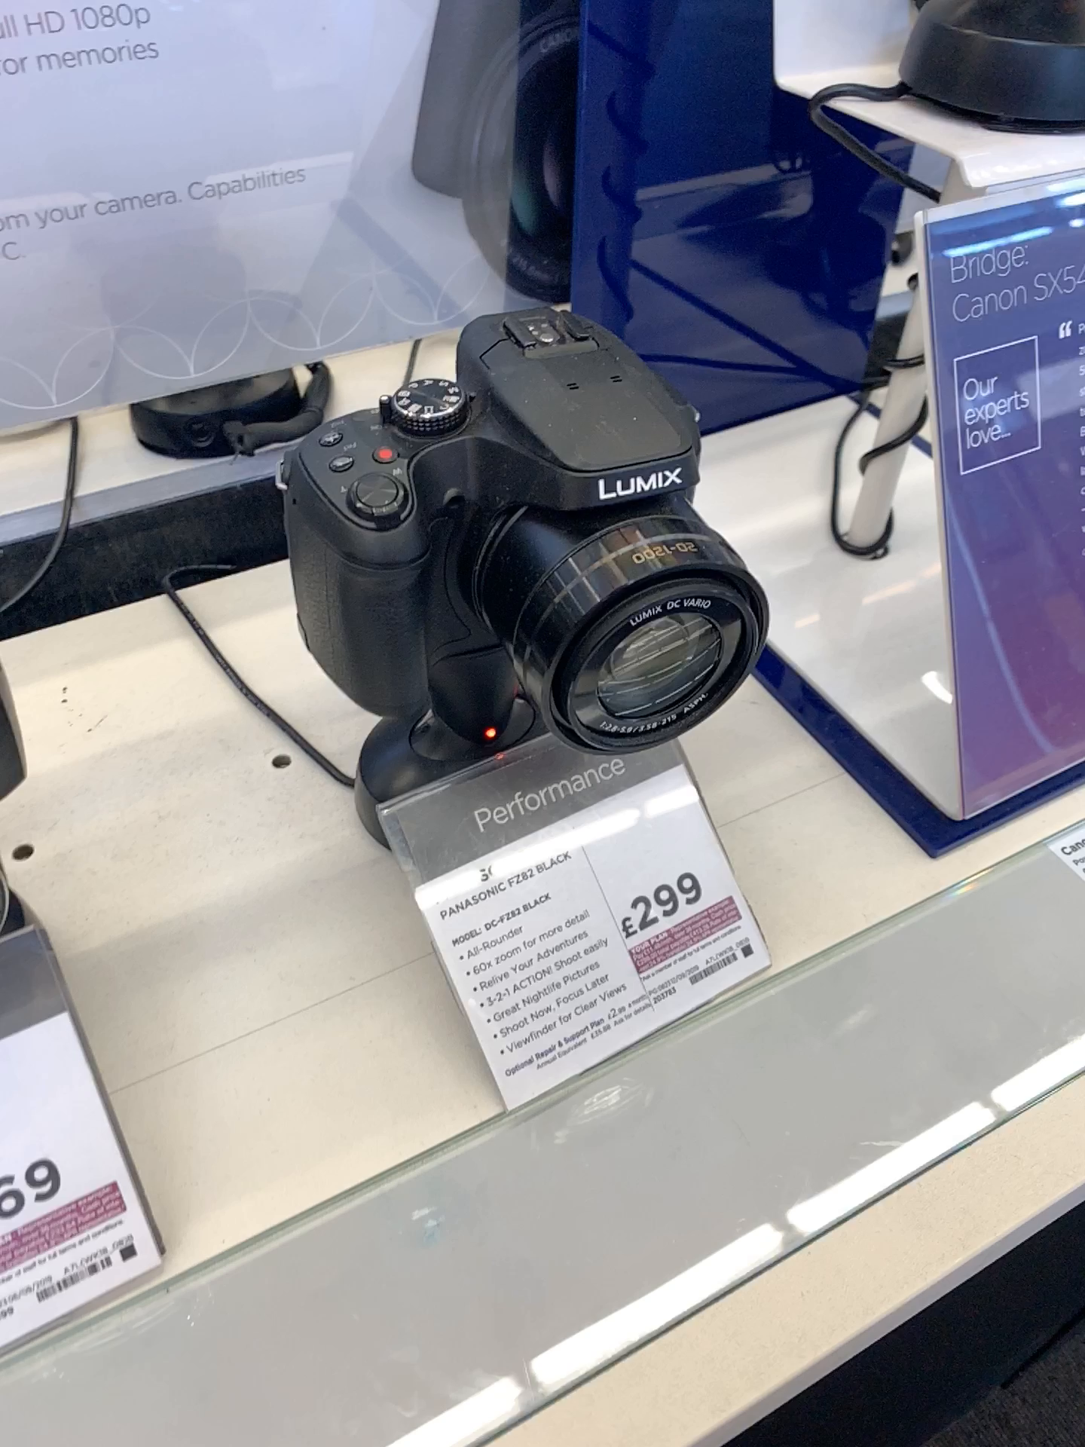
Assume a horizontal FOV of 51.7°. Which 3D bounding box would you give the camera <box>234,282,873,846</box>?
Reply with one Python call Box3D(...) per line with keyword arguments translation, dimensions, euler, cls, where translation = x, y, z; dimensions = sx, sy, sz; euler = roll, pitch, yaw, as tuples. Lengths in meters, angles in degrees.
Box3D(translation=(-0.003, -0.054, 0.323), dimensions=(0.130, 0.079, 0.121), euler=(-18, 48, -18), cls="camera")
